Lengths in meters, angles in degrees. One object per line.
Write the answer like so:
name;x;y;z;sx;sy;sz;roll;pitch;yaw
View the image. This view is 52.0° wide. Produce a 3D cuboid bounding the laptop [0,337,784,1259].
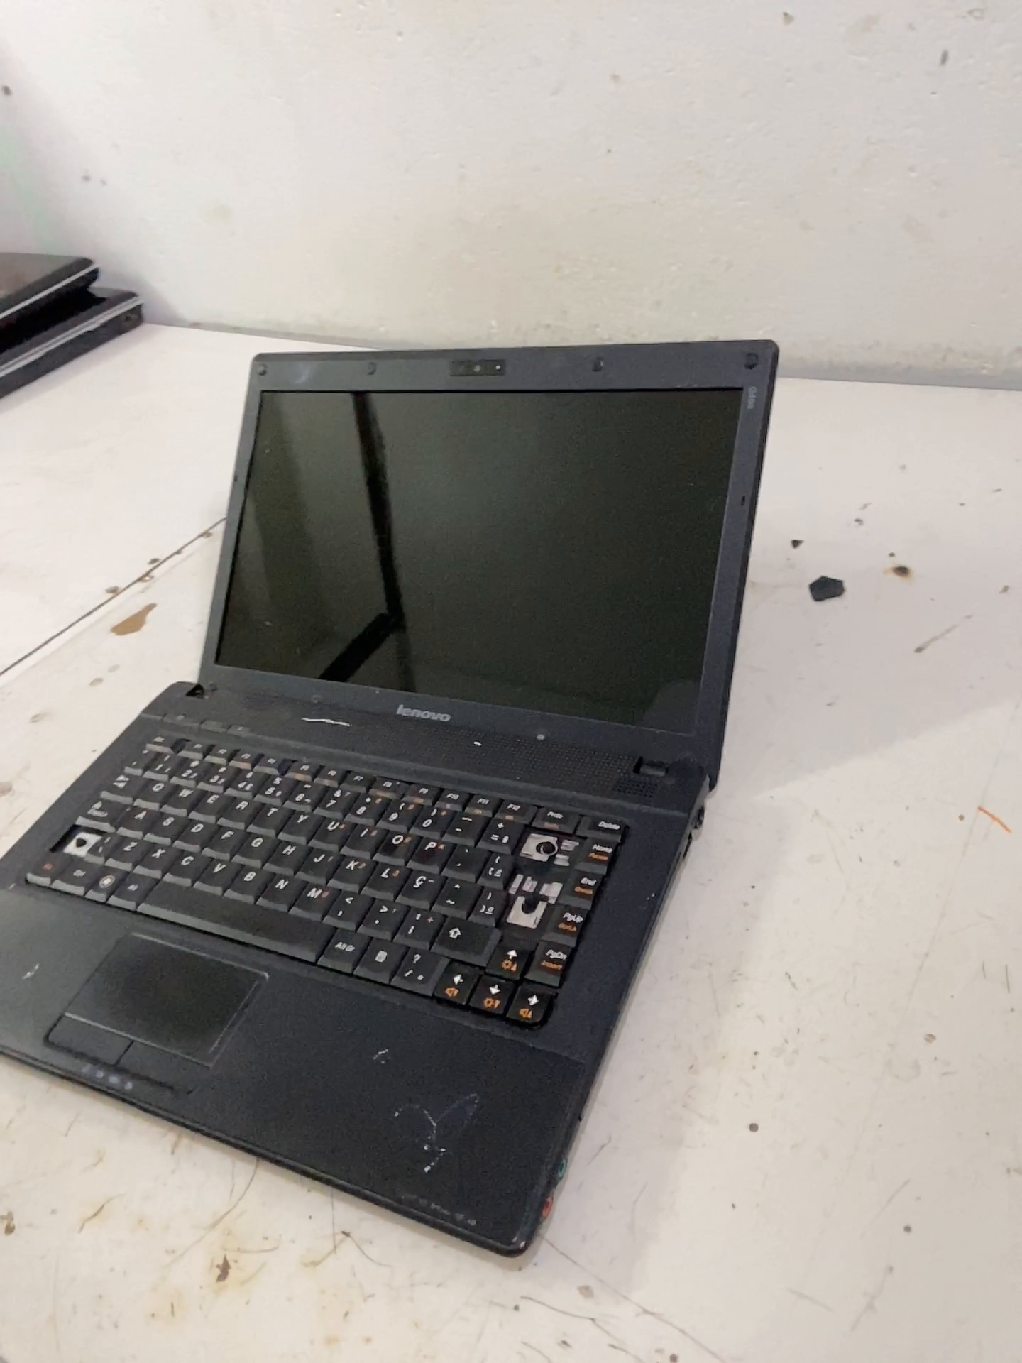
laptop;-0.089;-0.012;0.540;0.358;0.147;0.424;8;43;26
